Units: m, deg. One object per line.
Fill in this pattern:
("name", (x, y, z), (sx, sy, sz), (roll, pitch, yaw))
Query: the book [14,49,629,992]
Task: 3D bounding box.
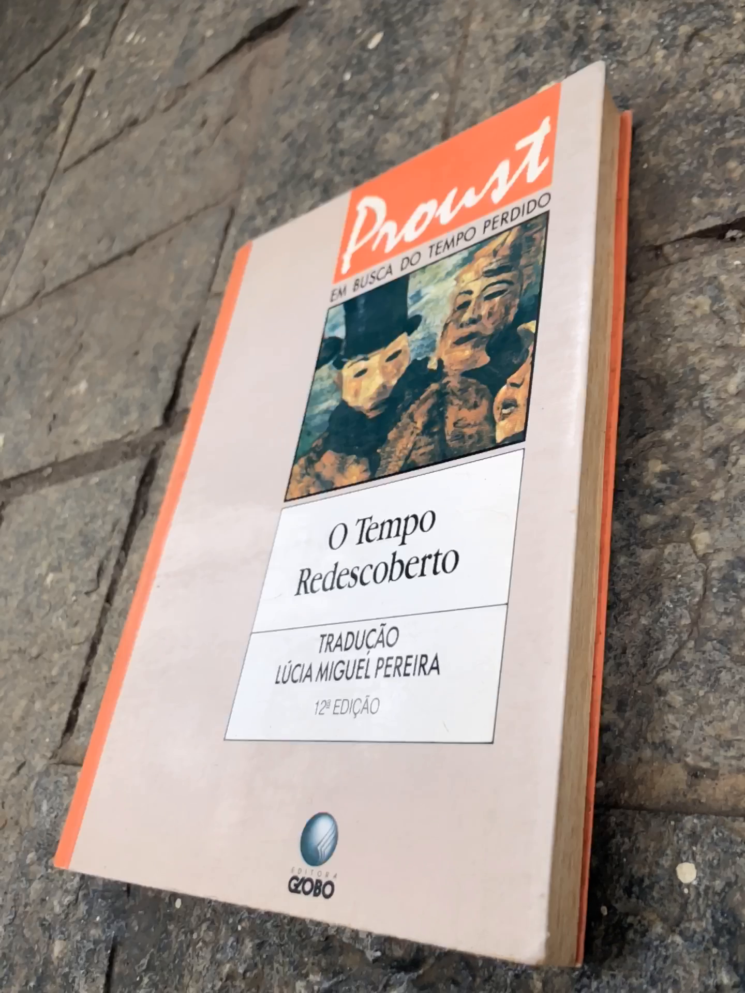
("book", (-0.009, -0.003, 0.204), (0.134, 0.023, 0.199), (-12, 56, 38))
